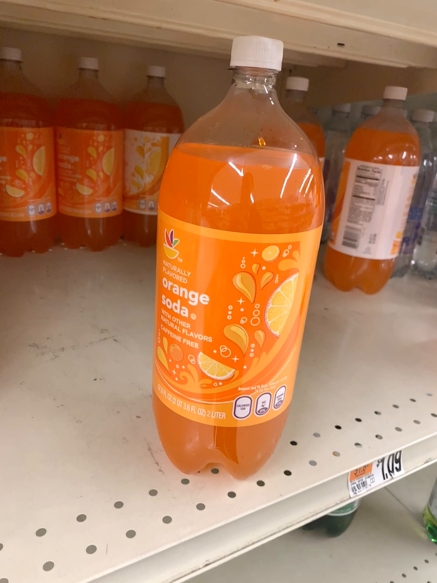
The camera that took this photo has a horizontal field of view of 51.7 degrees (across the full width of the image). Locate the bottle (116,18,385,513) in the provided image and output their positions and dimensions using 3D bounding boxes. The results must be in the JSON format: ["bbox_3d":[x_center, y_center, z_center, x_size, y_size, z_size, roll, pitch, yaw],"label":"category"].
[{"bbox_3d":[0.012,-0.016,0.320,0.110,0.288,0.120,5,24,-2],"label":"bottle"}]
